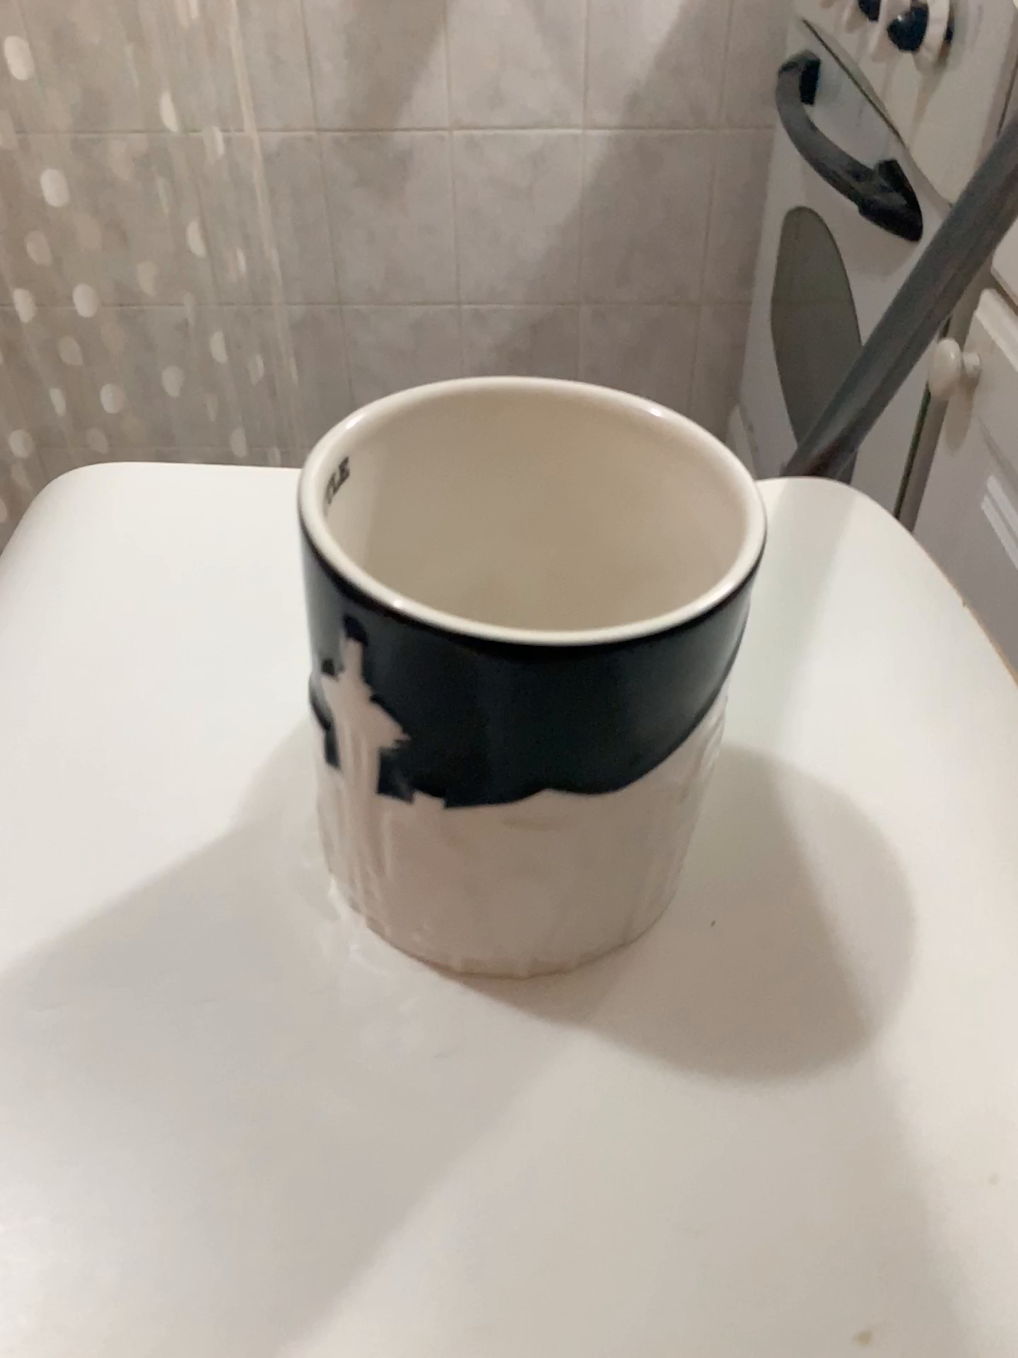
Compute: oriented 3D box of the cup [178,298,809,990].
[{"bbox_3d":[0.001,-0.016,0.259,0.104,0.100,0.144,1,42,3],"label":"cup"}]
